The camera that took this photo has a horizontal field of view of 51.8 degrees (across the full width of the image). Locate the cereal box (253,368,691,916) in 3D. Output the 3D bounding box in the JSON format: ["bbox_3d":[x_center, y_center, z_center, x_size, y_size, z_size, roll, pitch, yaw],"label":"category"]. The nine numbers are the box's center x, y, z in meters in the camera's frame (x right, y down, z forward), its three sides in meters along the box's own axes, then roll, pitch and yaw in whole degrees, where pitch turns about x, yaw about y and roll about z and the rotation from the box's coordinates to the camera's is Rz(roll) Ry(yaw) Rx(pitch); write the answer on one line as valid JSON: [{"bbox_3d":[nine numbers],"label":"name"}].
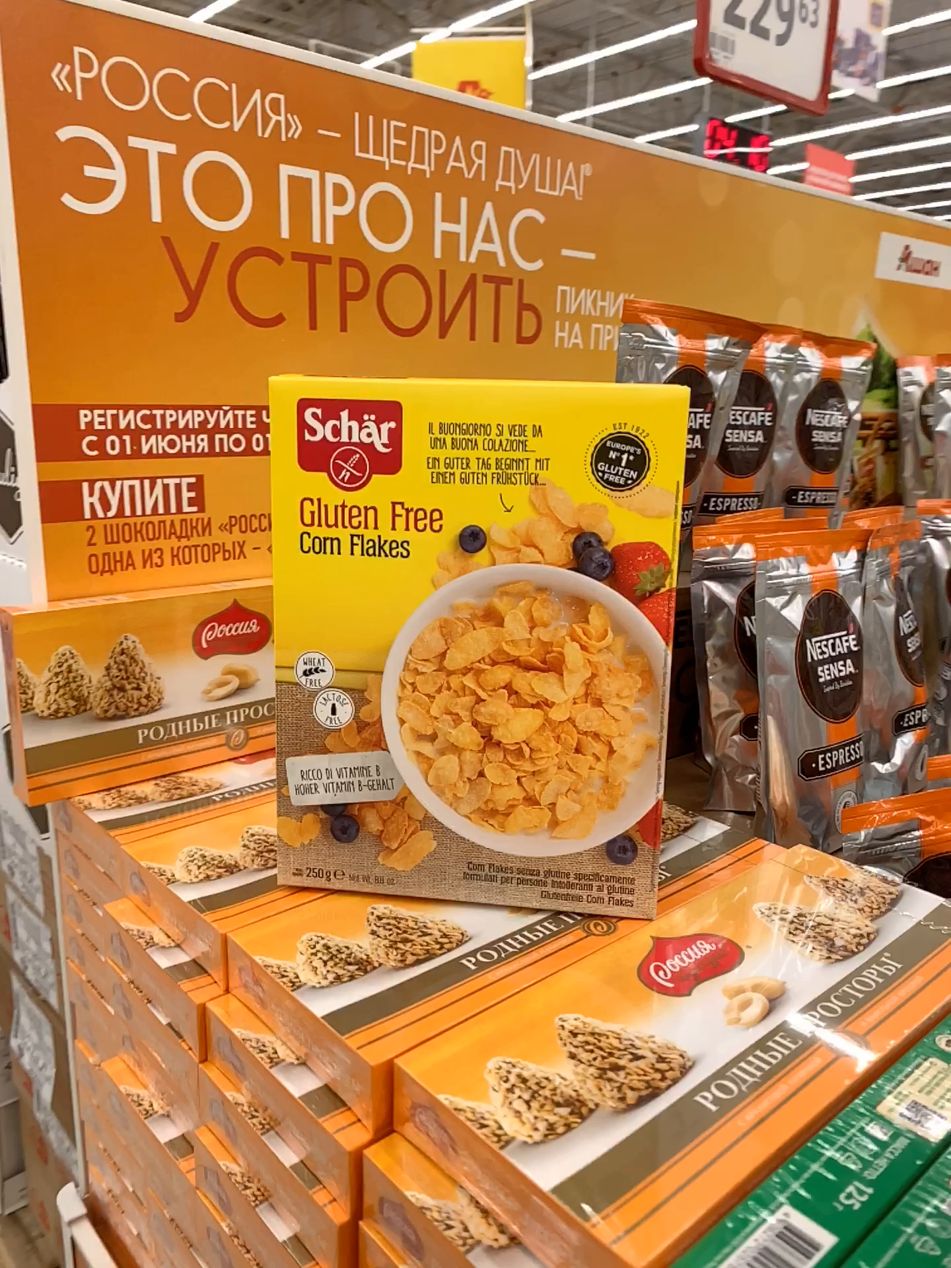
[{"bbox_3d":[-0.002,0.001,0.498,0.200,0.259,0.060,3,13,9],"label":"cereal box"}]
